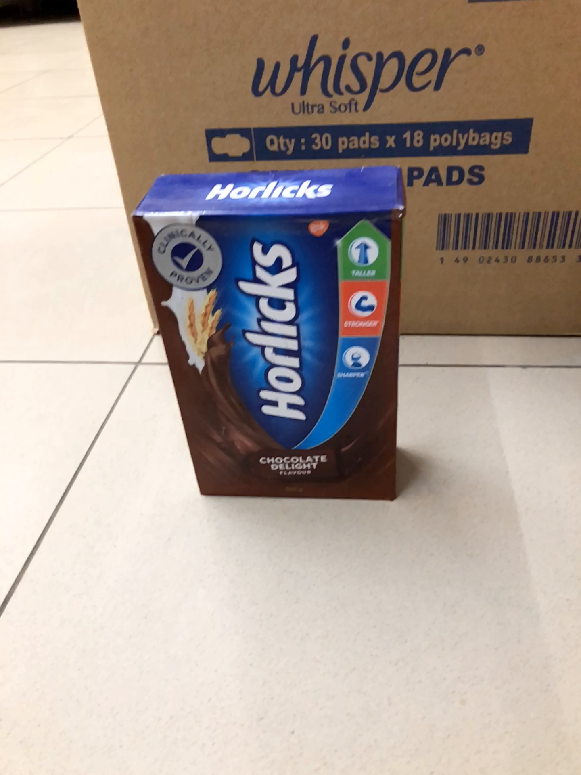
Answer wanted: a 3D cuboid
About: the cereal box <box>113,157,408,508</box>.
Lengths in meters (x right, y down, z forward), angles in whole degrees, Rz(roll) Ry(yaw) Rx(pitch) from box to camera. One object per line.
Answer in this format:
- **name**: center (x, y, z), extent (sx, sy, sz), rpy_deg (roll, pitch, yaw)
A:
- **cereal box**: center (-0.005, -0.023, 0.381), extent (0.140, 0.199, 0.060), rpy_deg (1, 36, 8)
